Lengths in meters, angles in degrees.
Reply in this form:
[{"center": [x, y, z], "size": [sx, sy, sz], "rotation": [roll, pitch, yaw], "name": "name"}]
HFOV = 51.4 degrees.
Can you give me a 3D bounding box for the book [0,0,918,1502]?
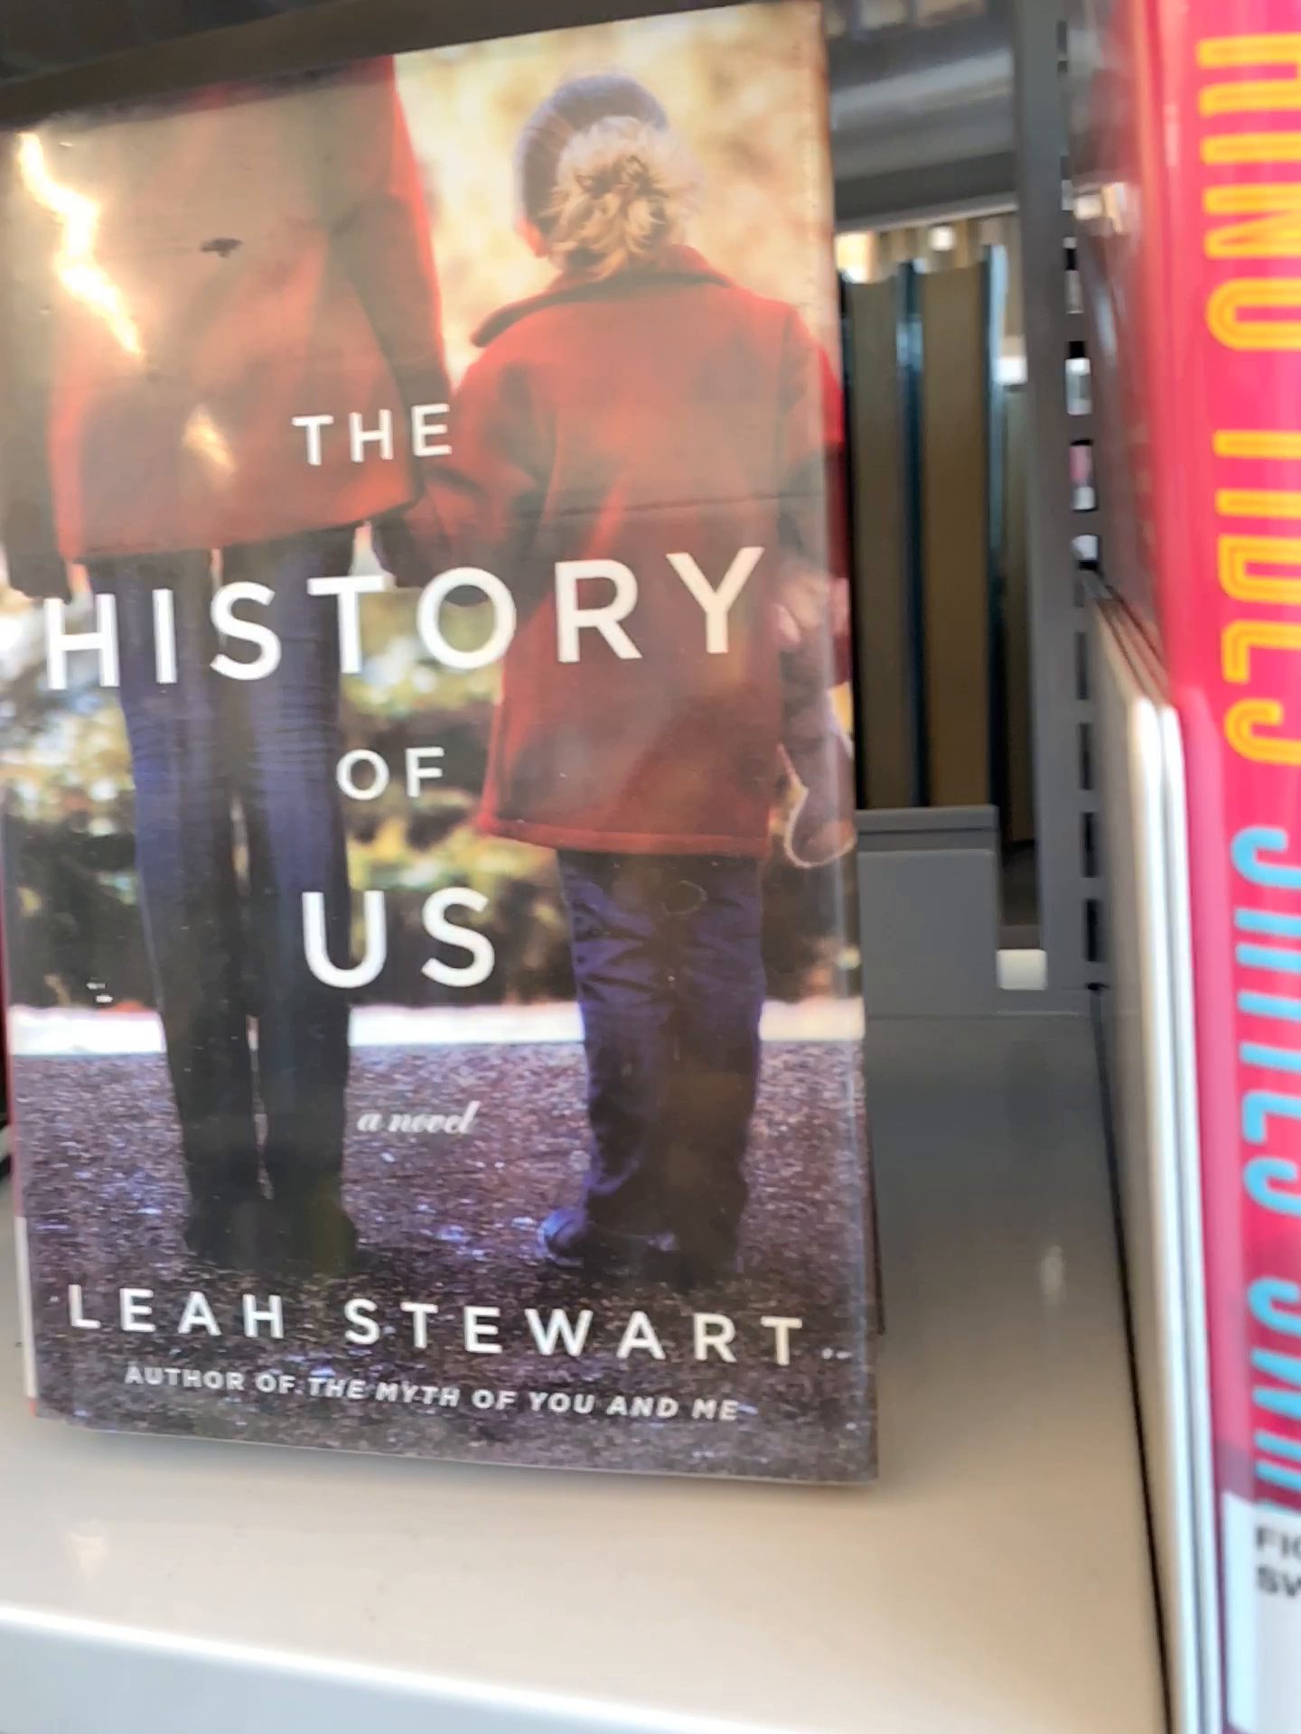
[{"center": [-0.041, -0.017, 0.226], "size": [0.153, 0.220, 0.040], "rotation": [-3, 4, 16], "name": "book"}]
